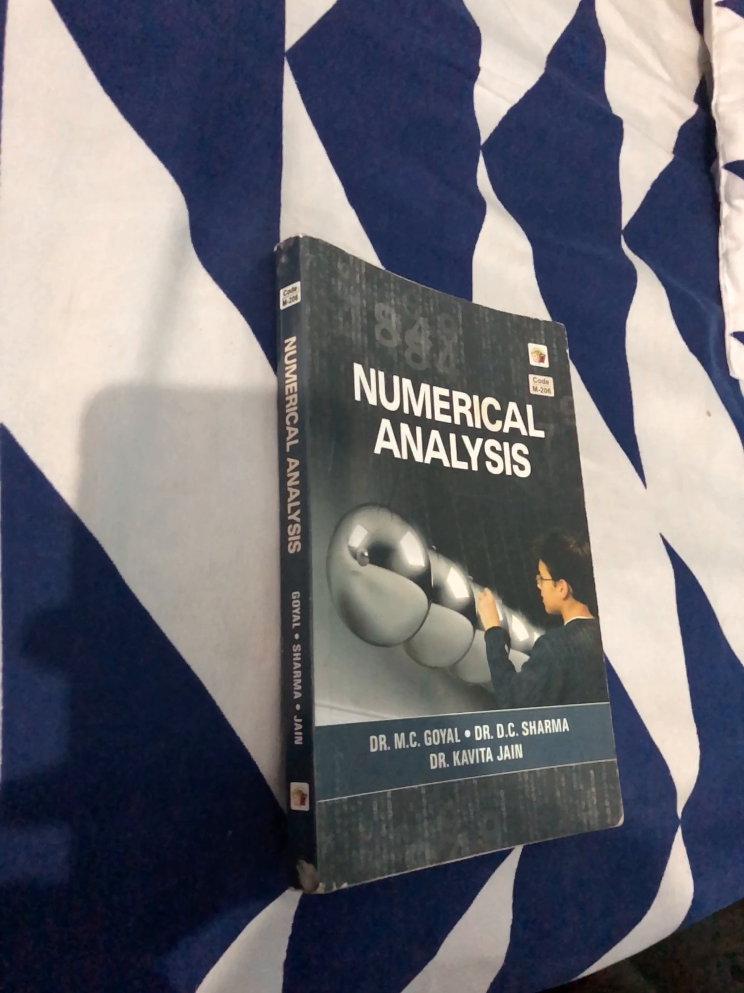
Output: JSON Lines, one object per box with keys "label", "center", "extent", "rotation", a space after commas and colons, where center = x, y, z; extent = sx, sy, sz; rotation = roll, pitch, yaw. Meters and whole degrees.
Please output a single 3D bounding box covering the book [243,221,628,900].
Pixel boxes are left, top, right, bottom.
{"label": "book", "center": [0.025, 0.020, 0.286], "extent": [0.141, 0.030, 0.190], "rotation": [7, 76, -38]}
